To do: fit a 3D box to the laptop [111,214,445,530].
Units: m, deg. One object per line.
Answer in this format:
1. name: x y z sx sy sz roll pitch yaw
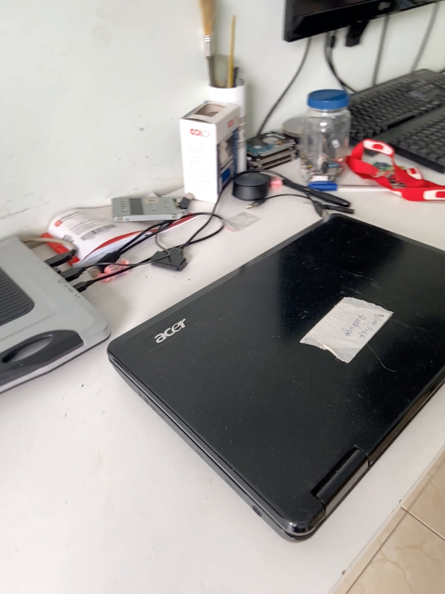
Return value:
1. laptop: 0.104 0.020 0.462 0.358 0.005 0.239 -31 45 -30
